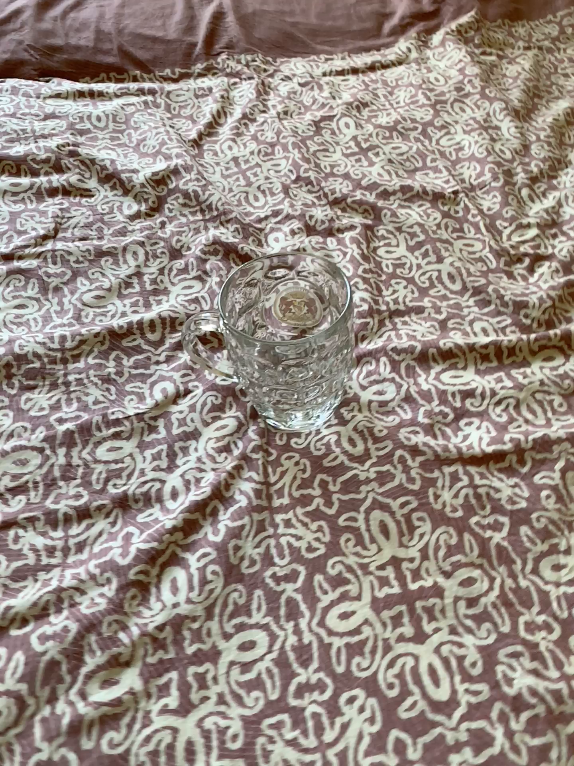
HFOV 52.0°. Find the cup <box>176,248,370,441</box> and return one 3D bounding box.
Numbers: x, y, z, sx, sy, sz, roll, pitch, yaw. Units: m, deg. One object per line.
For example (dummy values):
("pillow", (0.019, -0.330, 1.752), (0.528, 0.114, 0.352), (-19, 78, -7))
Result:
("cup", (-0.002, -0.026, 0.420), (0.117, 0.099, 0.094), (1, 51, 6))
